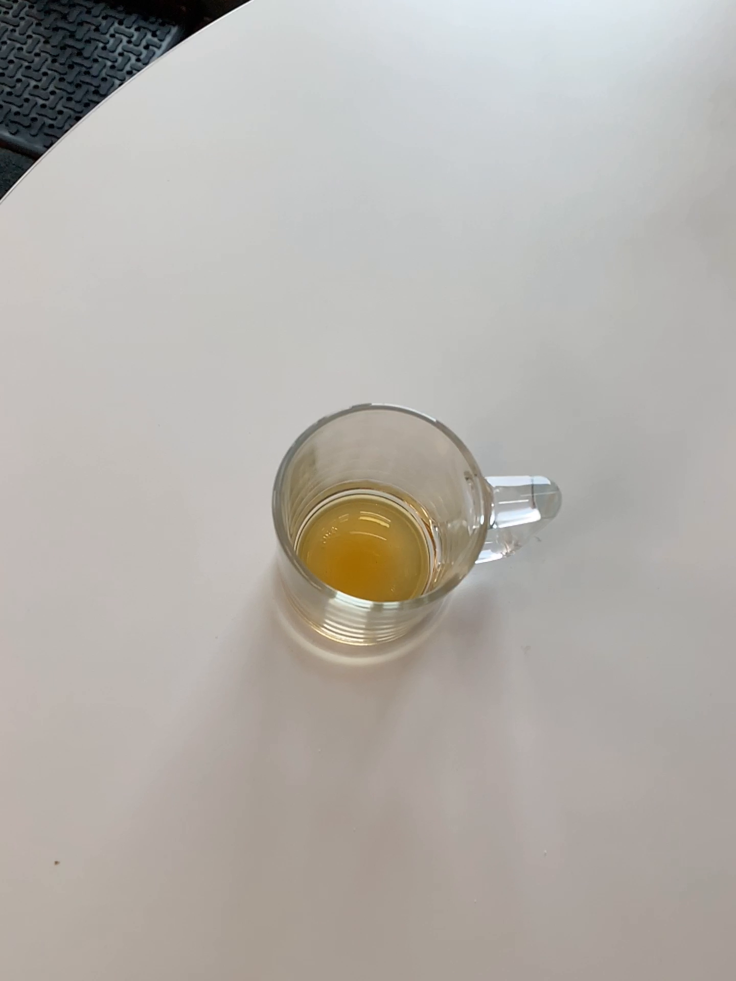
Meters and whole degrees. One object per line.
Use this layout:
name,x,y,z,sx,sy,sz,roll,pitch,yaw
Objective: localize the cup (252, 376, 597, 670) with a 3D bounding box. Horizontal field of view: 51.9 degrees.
cup,0.012,0.017,0.276,0.101,0.091,0.082,-2,72,-6
